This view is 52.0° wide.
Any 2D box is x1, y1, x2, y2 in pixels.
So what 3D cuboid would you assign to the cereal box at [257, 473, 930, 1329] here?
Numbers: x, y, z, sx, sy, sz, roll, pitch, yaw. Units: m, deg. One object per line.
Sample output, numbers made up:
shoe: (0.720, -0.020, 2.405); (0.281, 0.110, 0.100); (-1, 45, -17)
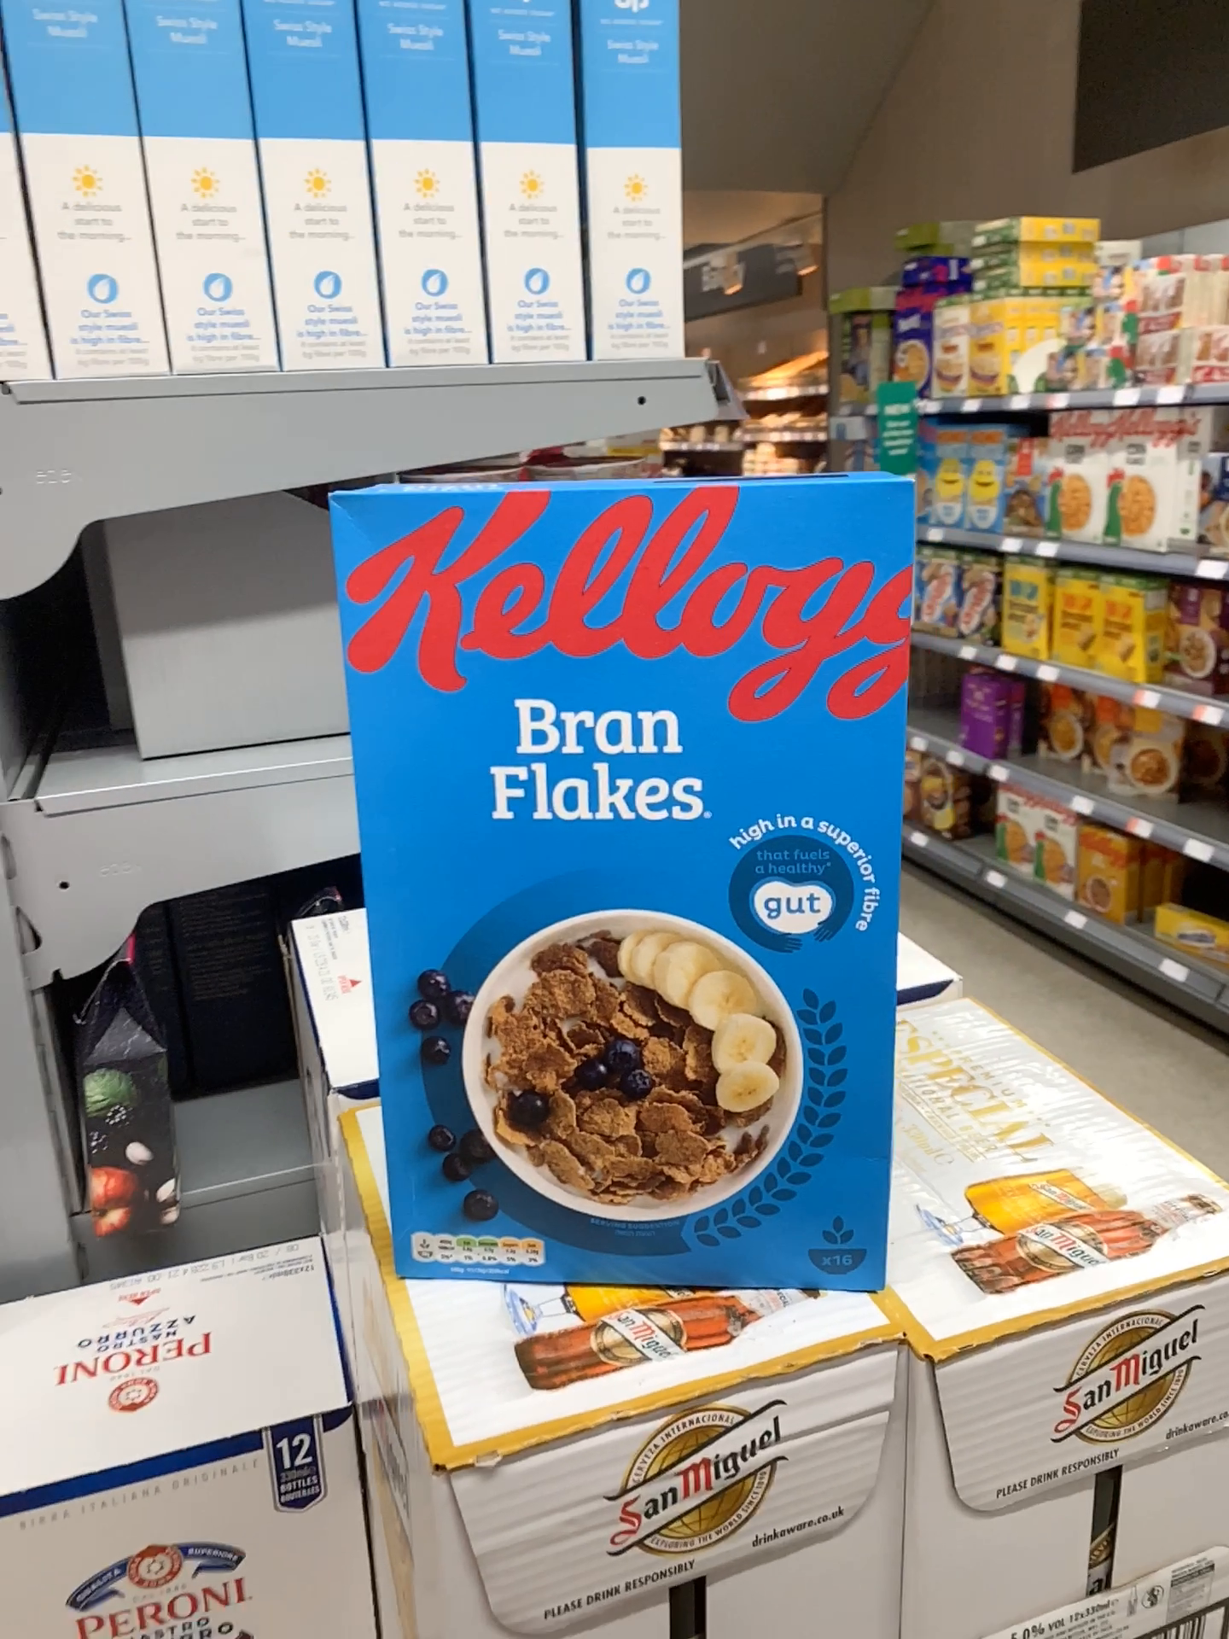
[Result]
cereal box: (-0.003, 0.030, 0.445); (0.200, 0.288, 0.070); (0, 16, 4)
